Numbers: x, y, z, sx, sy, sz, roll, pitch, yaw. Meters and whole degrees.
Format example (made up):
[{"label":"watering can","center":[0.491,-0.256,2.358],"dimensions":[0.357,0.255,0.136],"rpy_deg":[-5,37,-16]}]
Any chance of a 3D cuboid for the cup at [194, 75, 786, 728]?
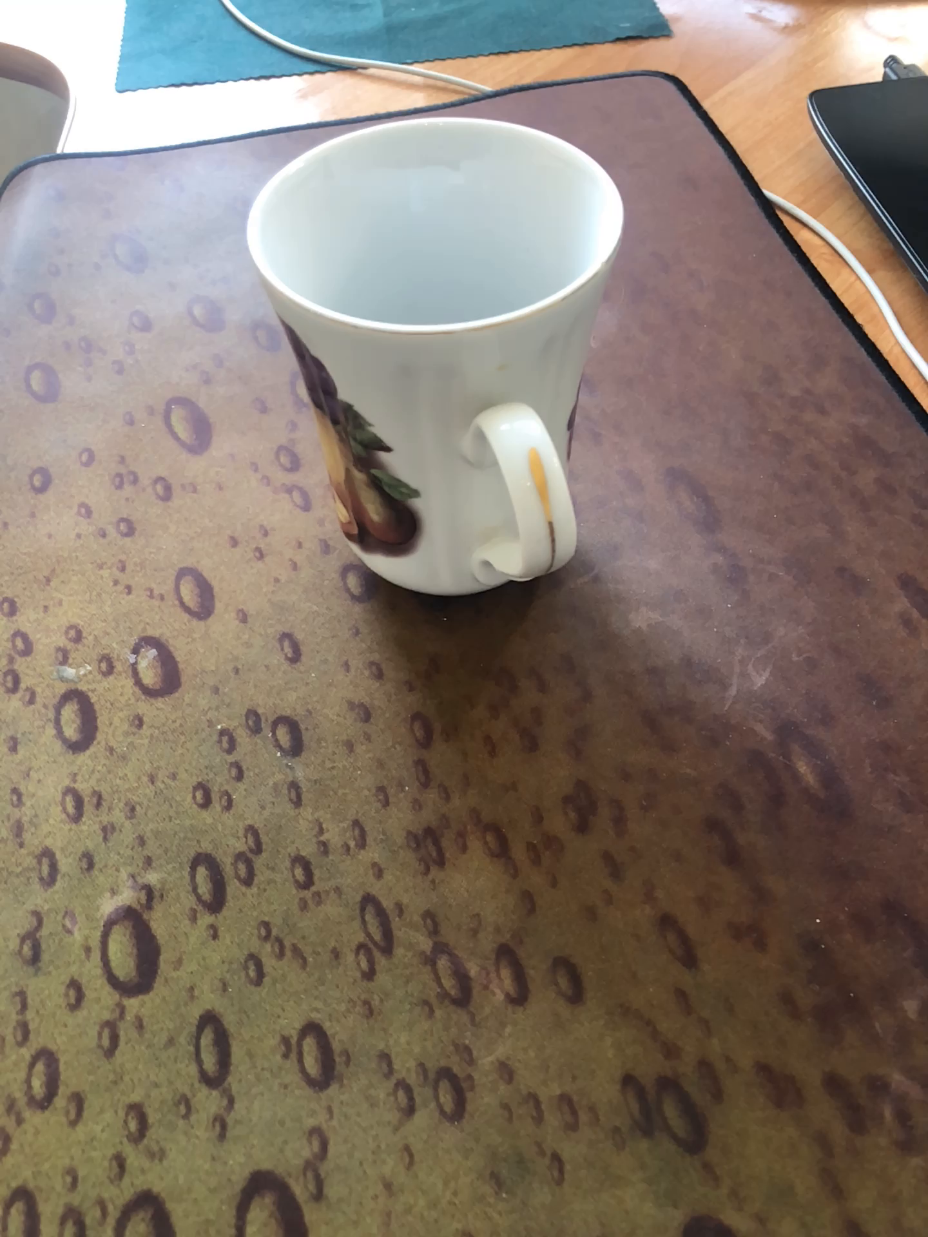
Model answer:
[{"label":"cup","center":[0.000,-0.050,0.226],"dimensions":[0.080,0.080,0.100],"rpy_deg":[-17,53,-12]}]
